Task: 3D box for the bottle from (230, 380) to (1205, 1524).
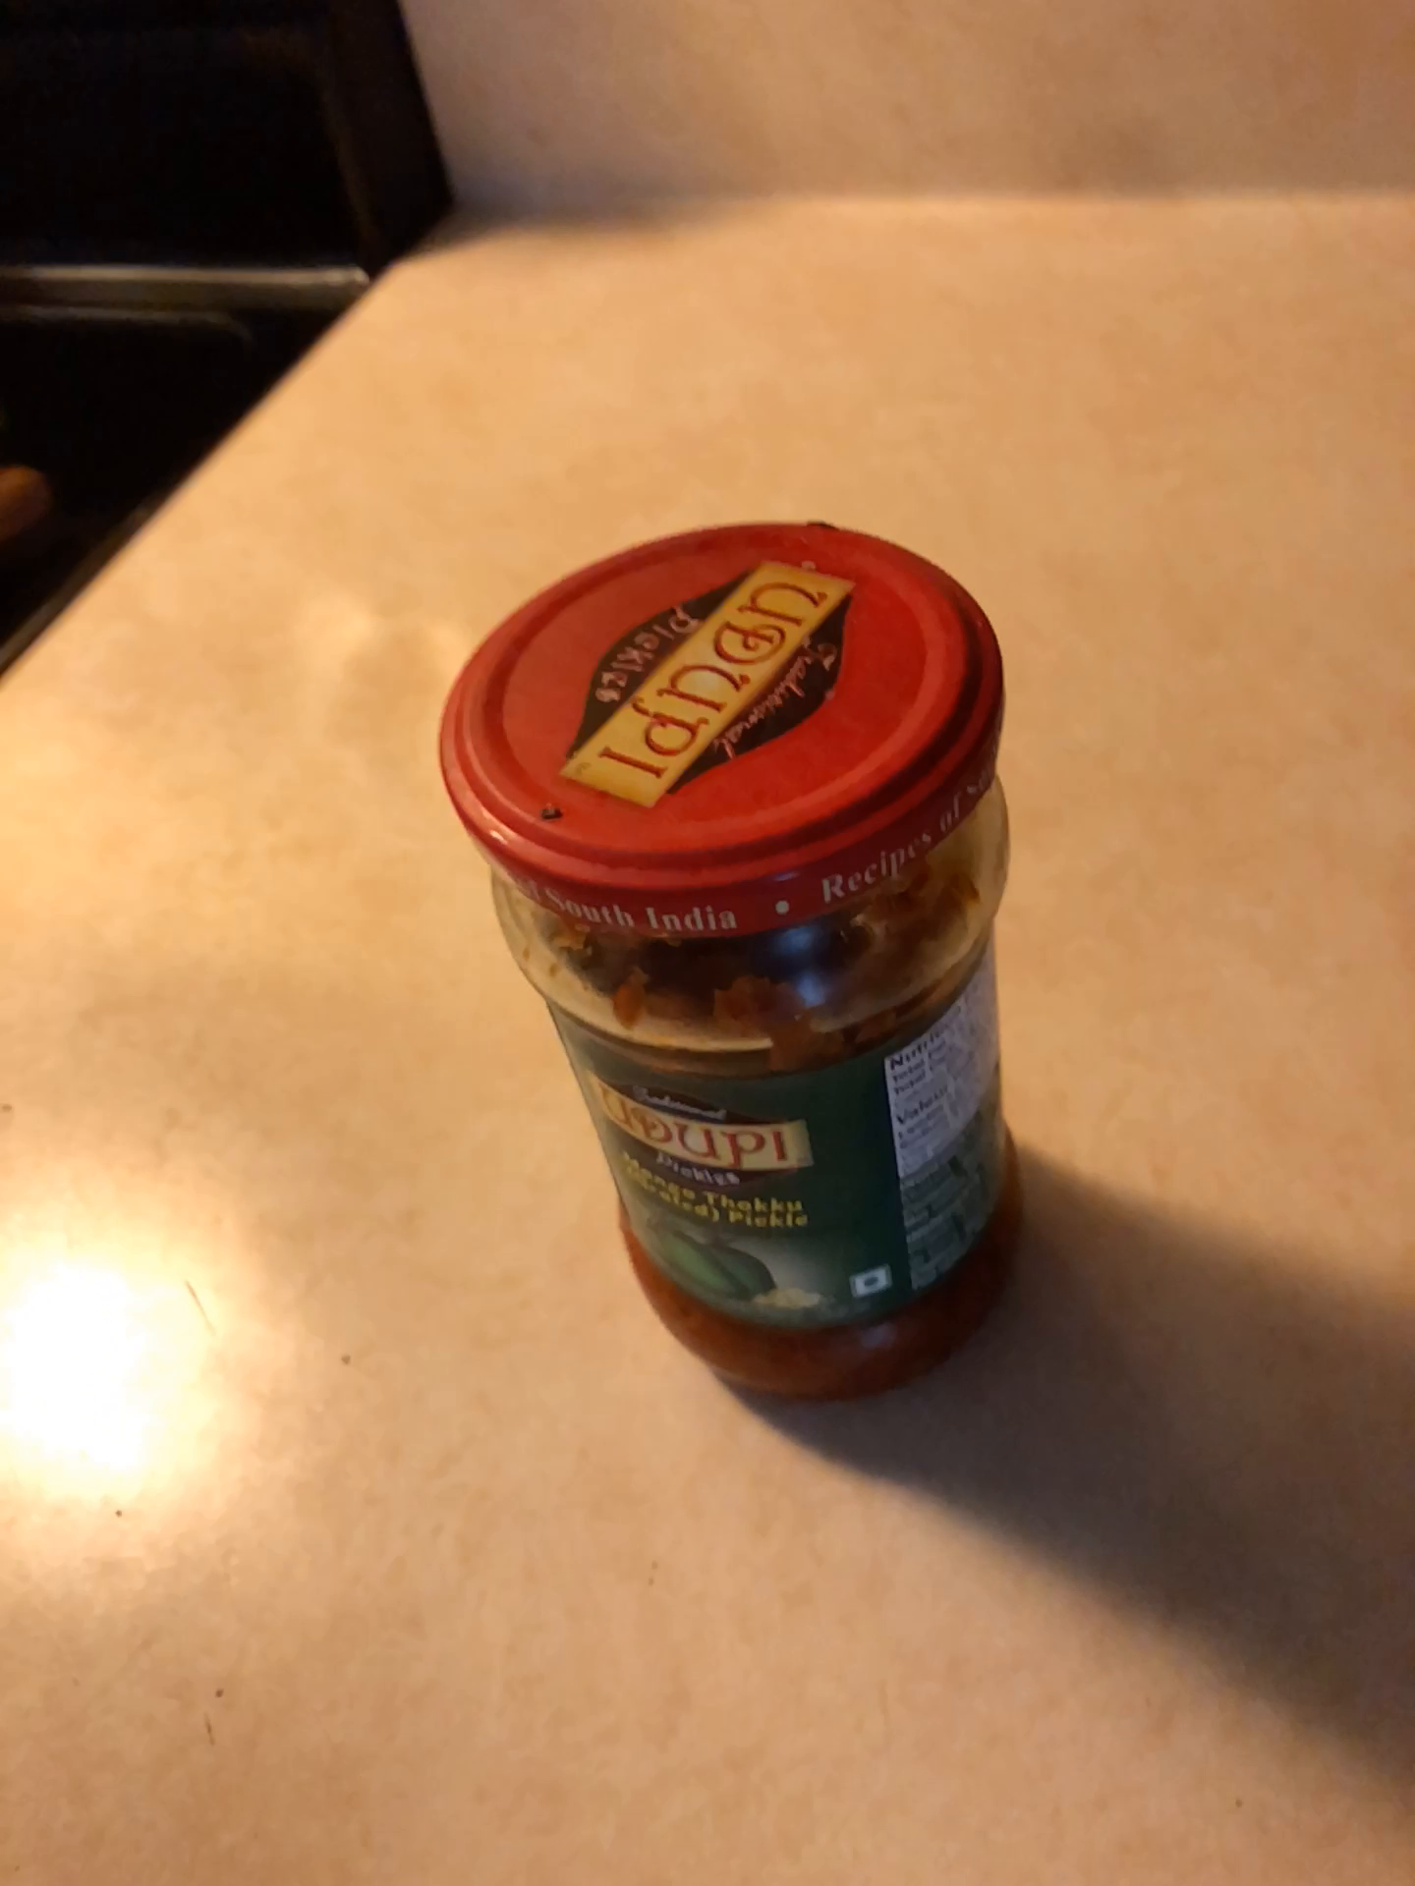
[{"bbox_3d":[0.011,0.003,0.222,0.080,0.120,0.080,-6,46,7],"label":"bottle"}]
